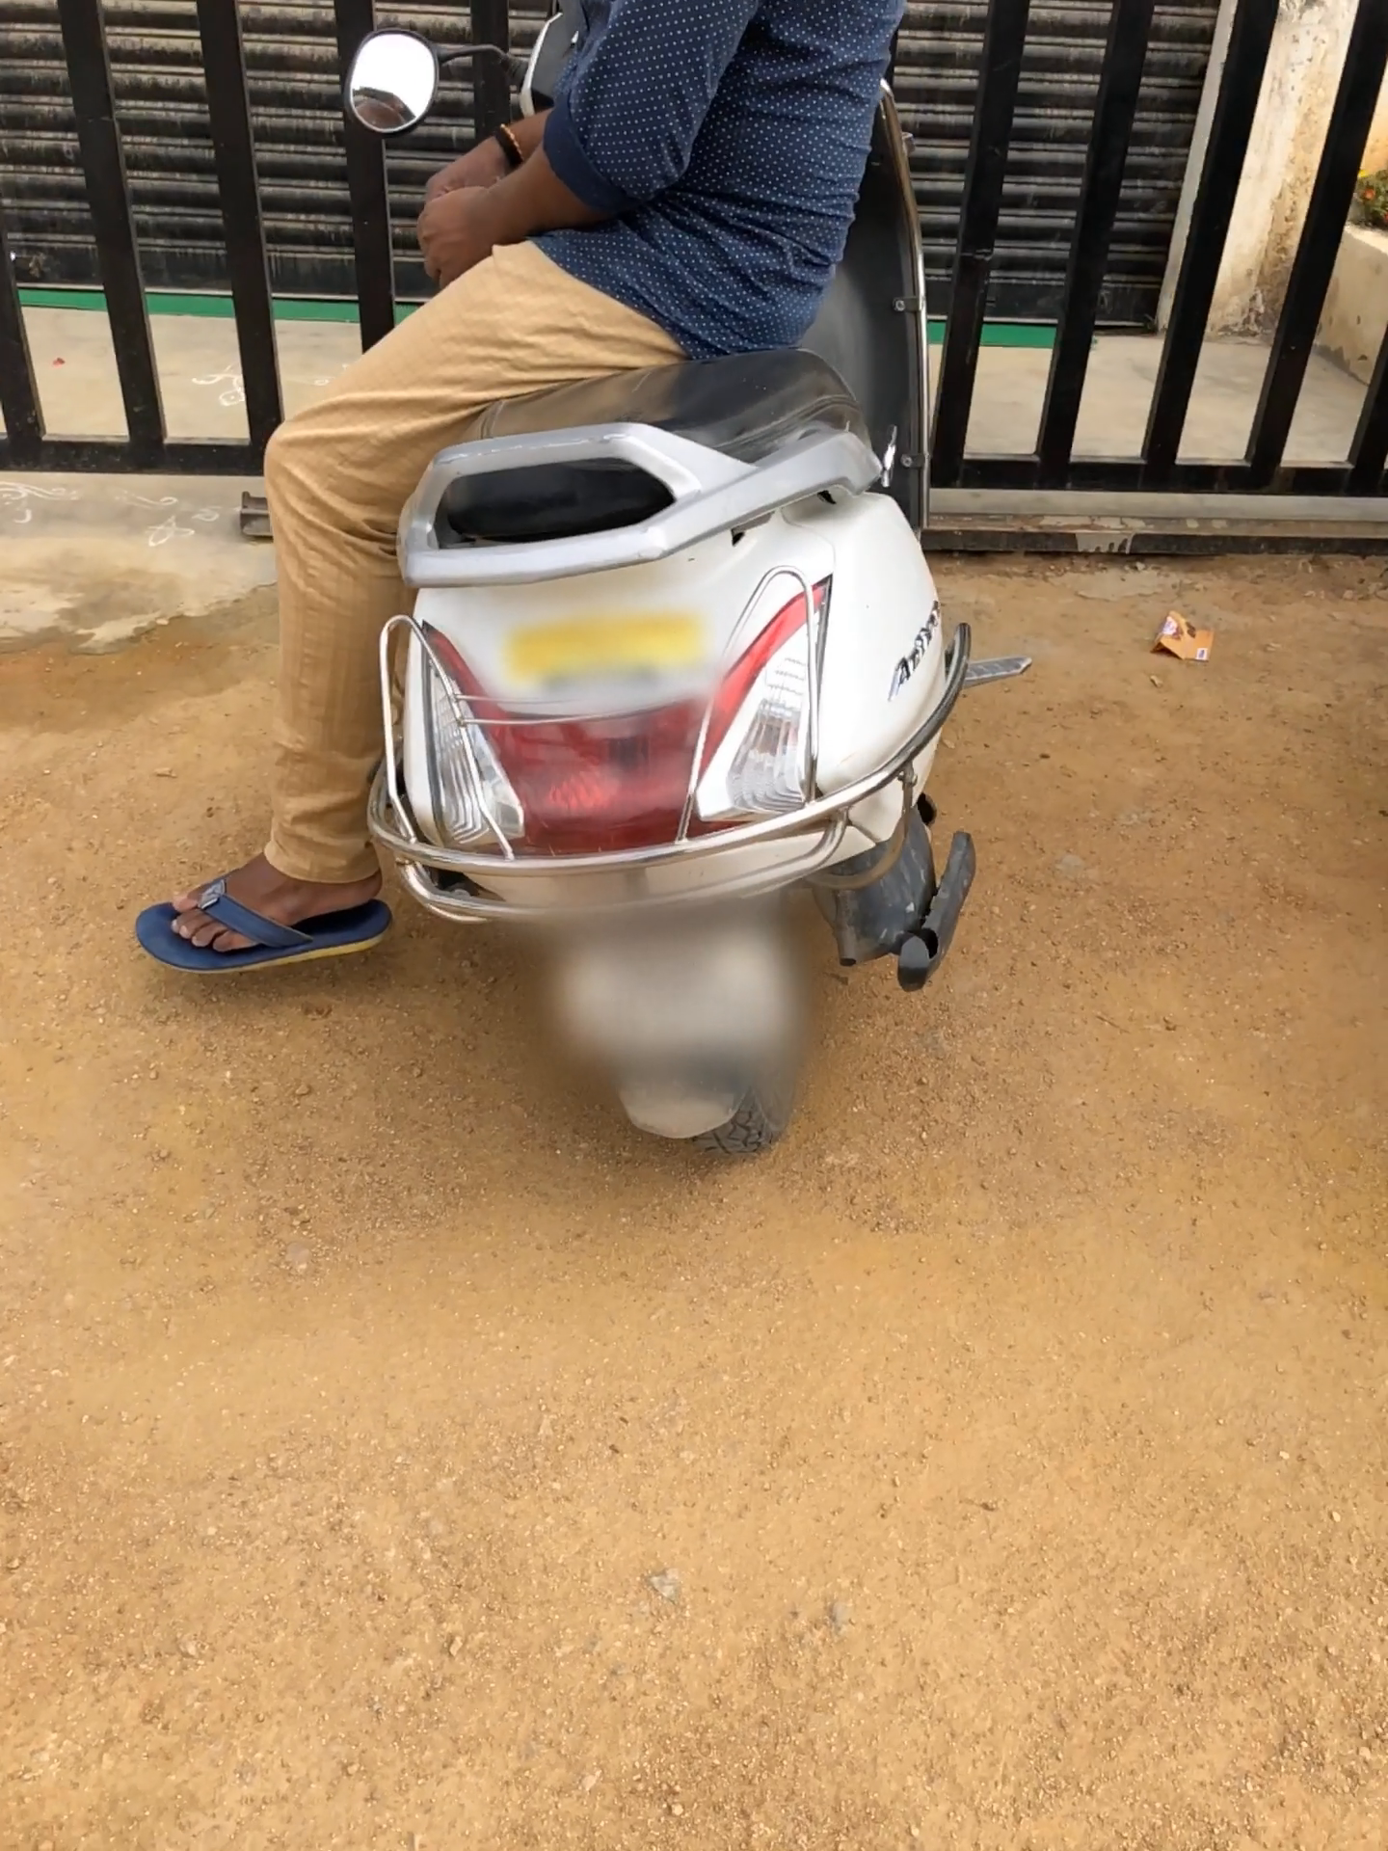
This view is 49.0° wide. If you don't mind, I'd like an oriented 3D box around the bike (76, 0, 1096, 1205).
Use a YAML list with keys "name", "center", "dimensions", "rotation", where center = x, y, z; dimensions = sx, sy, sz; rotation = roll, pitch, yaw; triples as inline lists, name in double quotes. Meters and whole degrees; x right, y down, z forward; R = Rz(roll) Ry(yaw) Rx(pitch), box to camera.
- name: "bike"
  center: [-0.094, -0.679, 1.930]
  dimensions: [0.650, 1.069, 1.655]
  rotation: [3, 36, -1]
